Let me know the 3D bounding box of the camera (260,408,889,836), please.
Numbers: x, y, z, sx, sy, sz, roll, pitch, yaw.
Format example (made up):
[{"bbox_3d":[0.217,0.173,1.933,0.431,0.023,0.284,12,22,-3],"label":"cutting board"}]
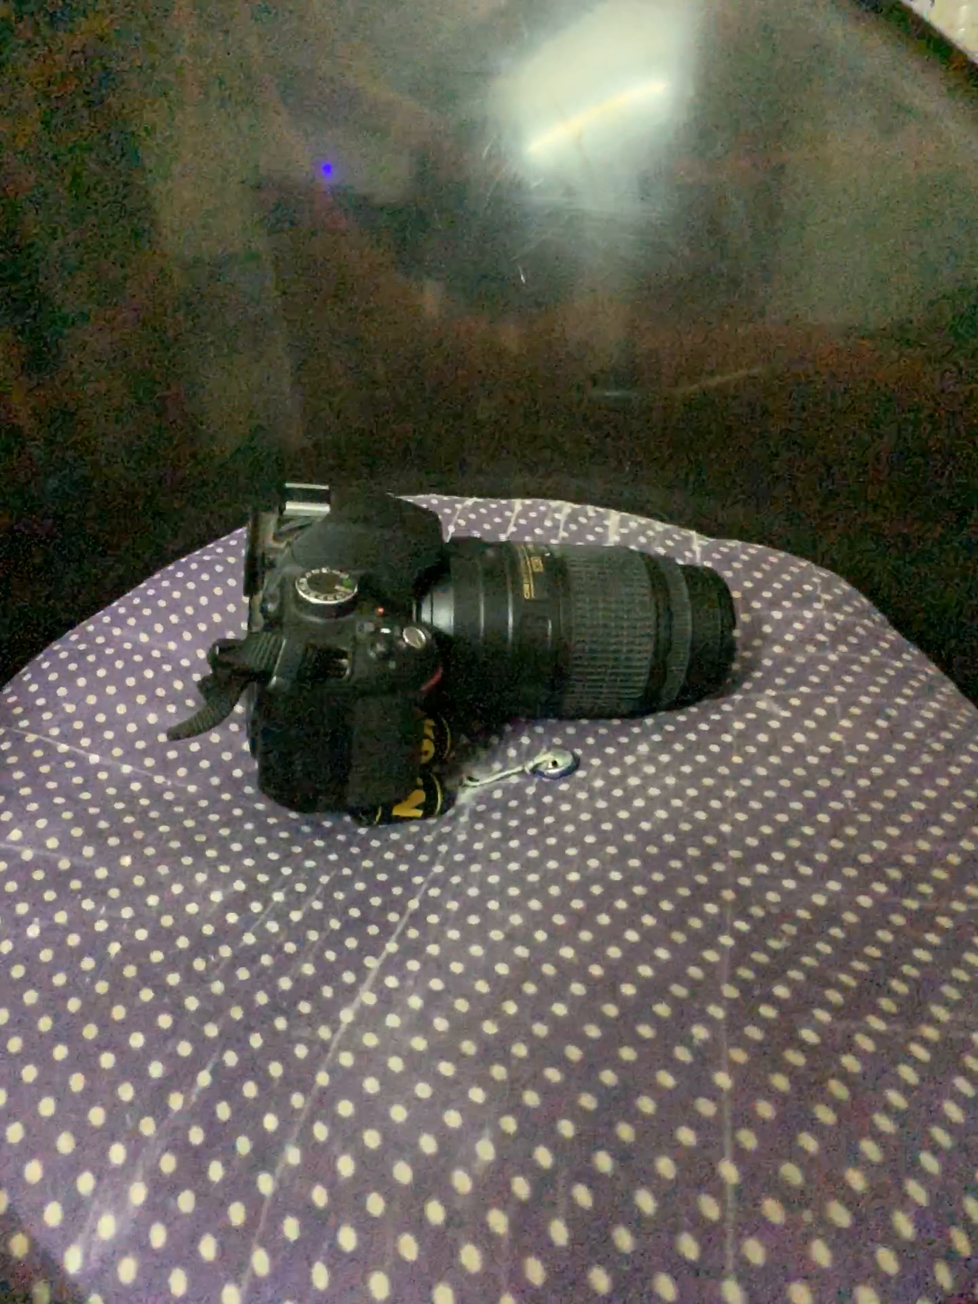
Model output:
[{"bbox_3d":[0.016,-0.016,0.392,0.200,0.100,0.141,1,33,-12],"label":"camera"}]
